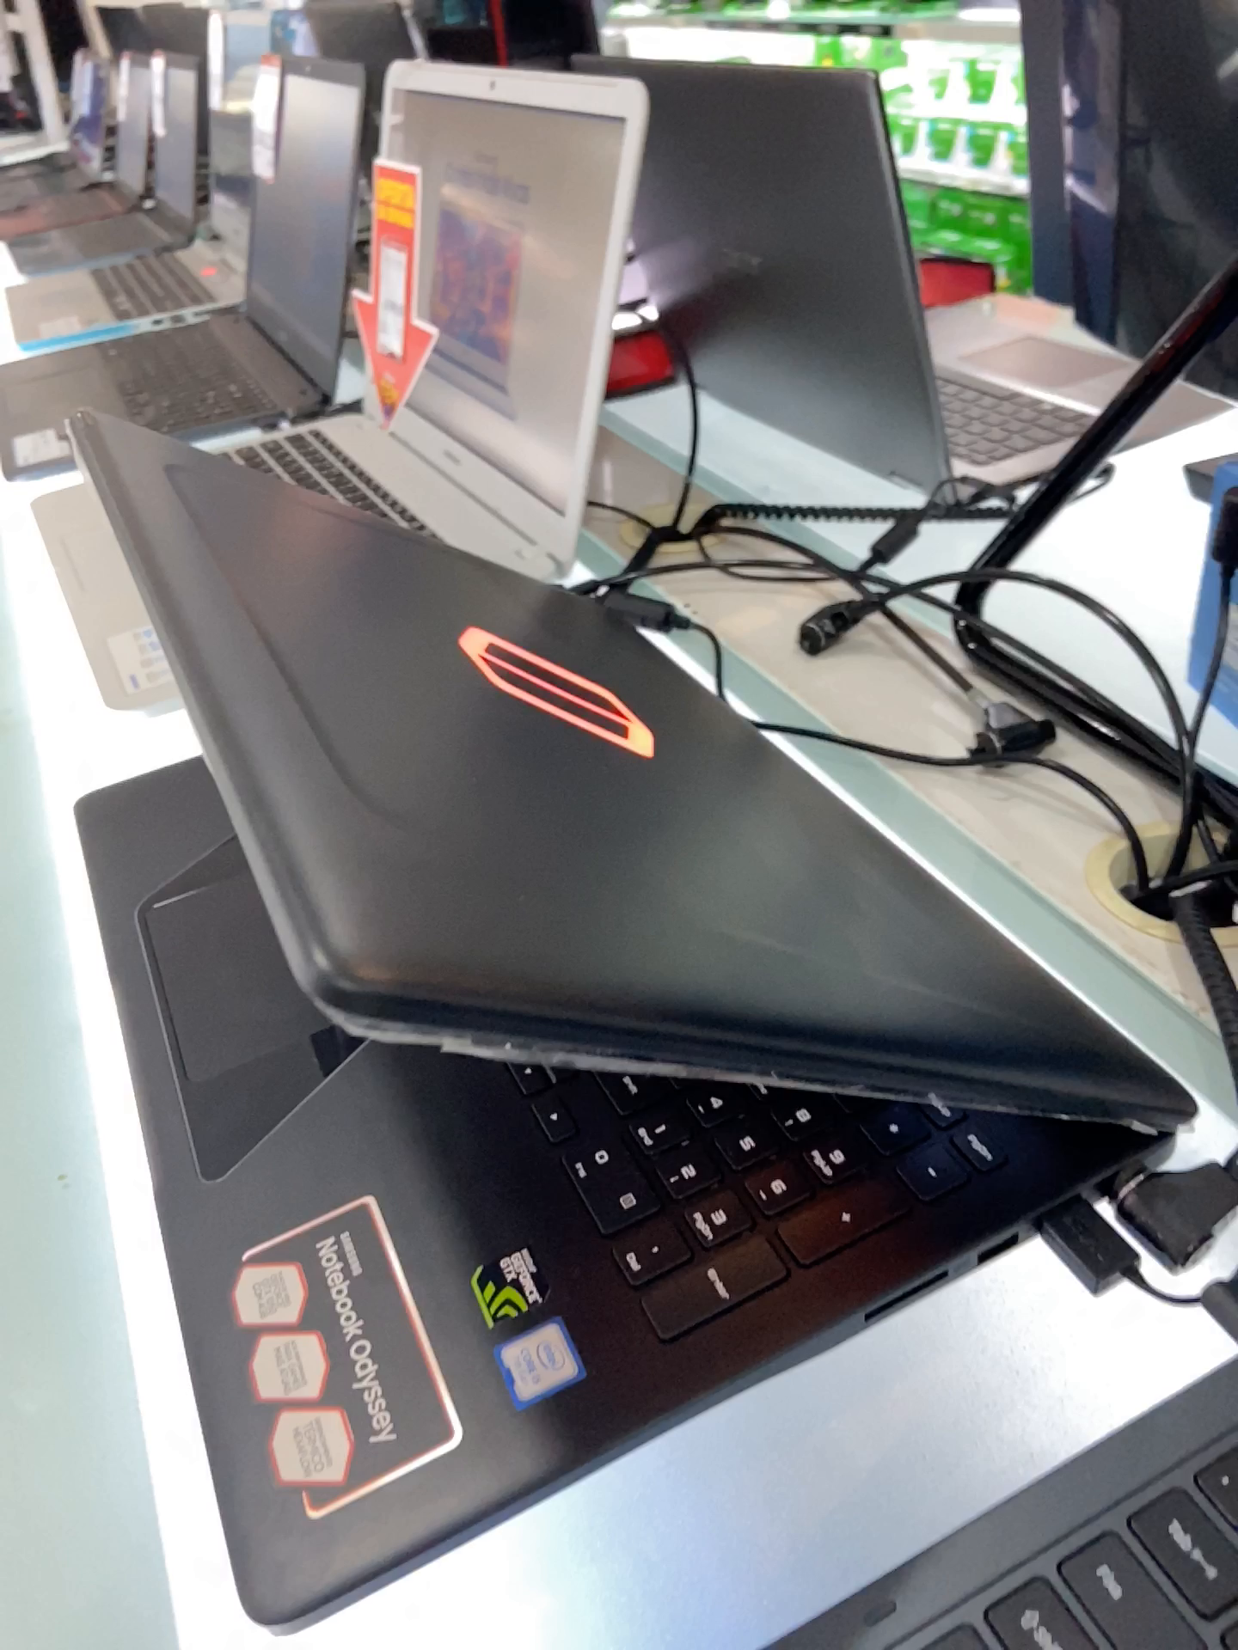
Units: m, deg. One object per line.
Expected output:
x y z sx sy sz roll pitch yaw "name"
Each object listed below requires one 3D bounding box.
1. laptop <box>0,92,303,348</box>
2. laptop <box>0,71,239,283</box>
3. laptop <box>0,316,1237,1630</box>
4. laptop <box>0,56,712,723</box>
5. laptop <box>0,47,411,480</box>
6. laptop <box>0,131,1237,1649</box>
-0.618 -0.767 1.598 0.337 0.180 0.332 -21 38 -17 "laptop"
-0.829 -1.033 2.027 0.319 0.205 0.338 -19 39 -14 "laptop"
-0.052 -0.024 0.406 0.258 0.152 0.369 -20 36 -17 "laptop"
-0.209 -0.302 0.778 0.345 0.223 0.433 -22 36 -16 "laptop"
-0.421 -0.517 1.136 0.341 0.227 0.338 -21 39 -17 "laptop"
0.166 0.146 0.056 0.307 0.234 0.414 -21 38 -17 "laptop"
